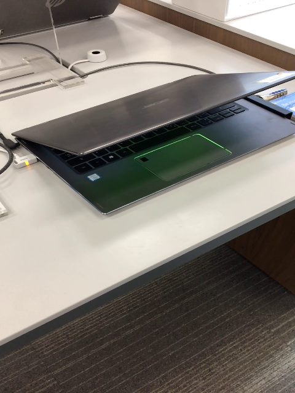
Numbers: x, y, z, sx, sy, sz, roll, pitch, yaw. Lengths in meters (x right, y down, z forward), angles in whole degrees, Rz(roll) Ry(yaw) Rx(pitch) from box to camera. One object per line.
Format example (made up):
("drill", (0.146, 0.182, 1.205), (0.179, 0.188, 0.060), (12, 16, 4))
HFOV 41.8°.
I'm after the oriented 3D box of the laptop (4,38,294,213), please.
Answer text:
("laptop", (0.025, -0.119, 0.539), (0.335, 0.074, 0.200), (-26, 52, -24))
